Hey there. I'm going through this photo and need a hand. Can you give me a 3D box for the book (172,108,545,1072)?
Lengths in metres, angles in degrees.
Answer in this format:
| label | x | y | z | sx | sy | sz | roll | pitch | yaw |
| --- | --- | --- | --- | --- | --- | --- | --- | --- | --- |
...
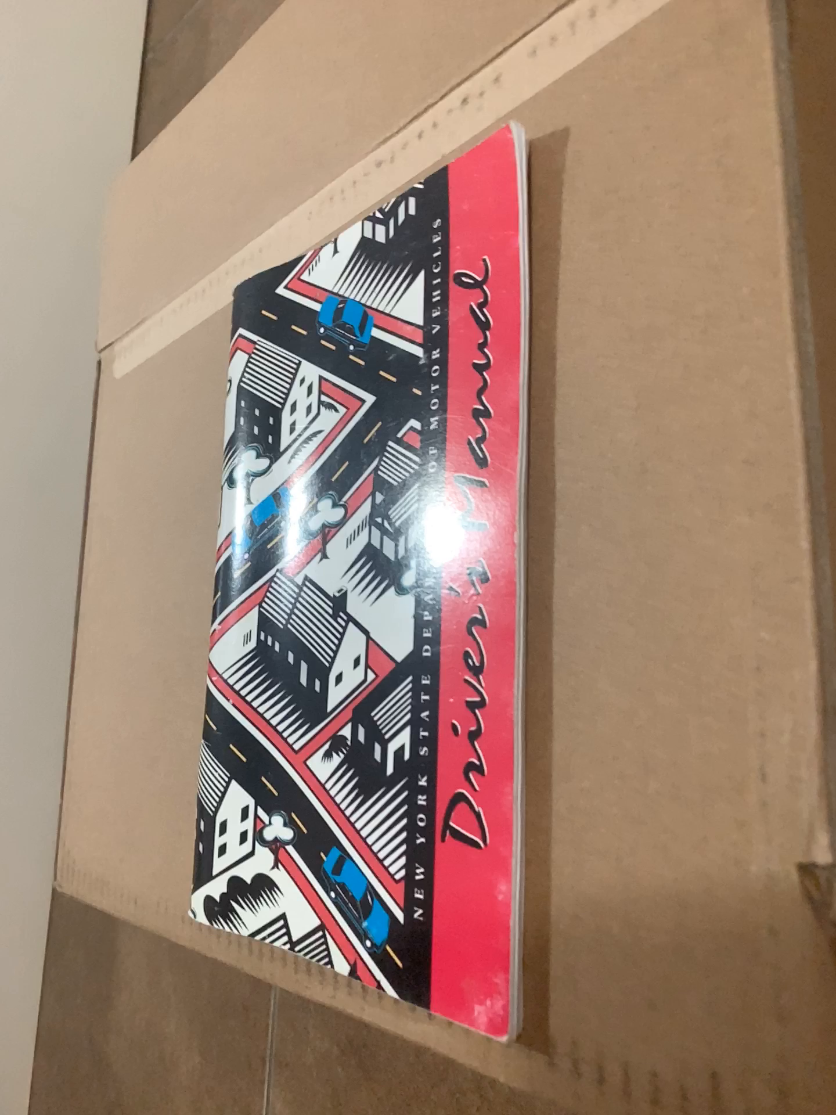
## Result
| label | x | y | z | sx | sy | sz | roll | pitch | yaw |
| --- | --- | --- | --- | --- | --- | --- | --- | --- | --- |
| book | -0.023 | 0.005 | 0.238 | 0.134 | 0.013 | 0.207 | -8 | 77 | 48 |
